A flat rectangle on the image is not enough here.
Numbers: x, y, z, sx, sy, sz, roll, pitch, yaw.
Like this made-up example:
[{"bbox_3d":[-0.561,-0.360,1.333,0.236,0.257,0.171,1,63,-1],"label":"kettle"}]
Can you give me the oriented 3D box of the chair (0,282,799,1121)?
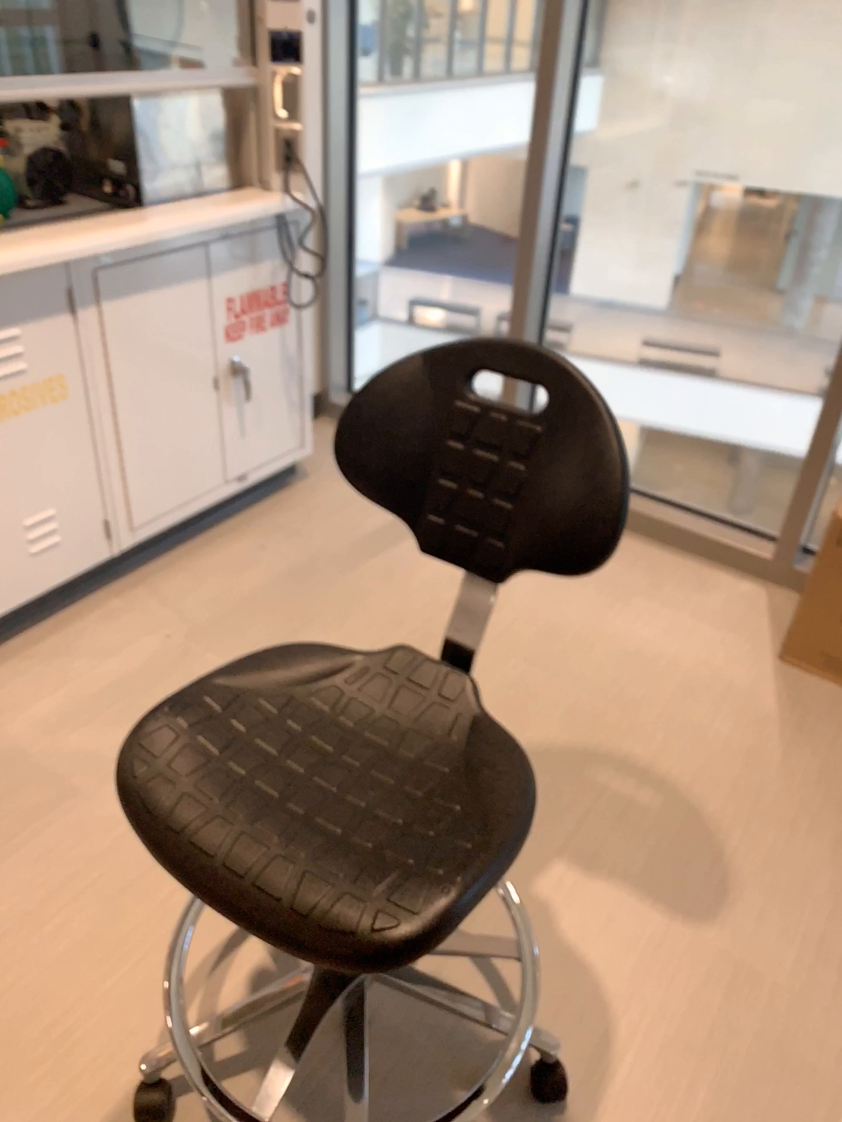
[{"bbox_3d":[-0.062,0.274,1.088,0.671,0.962,0.665,18,36,21],"label":"chair"}]
